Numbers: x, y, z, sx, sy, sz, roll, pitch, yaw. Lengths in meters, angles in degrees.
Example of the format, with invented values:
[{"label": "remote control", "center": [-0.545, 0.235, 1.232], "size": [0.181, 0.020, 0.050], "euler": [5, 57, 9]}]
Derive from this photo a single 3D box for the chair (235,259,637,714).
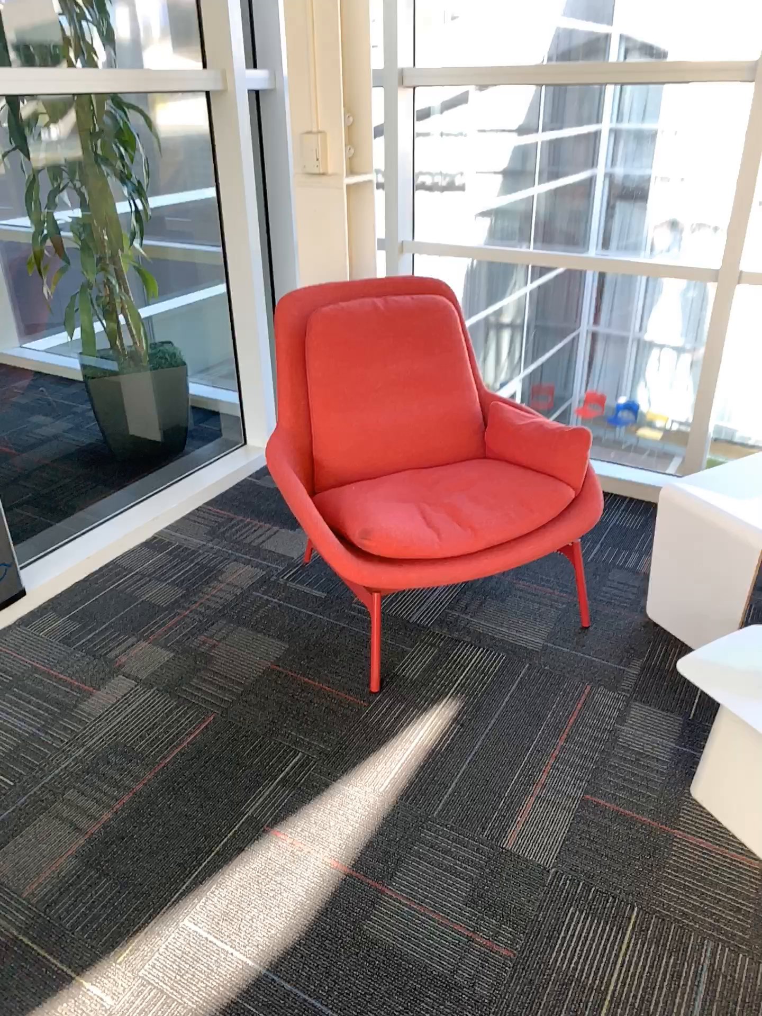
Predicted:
[{"label": "chair", "center": [0.119, -0.137, 2.479], "size": [0.870, 1.054, 0.825], "euler": [-13, 31, -21]}]
